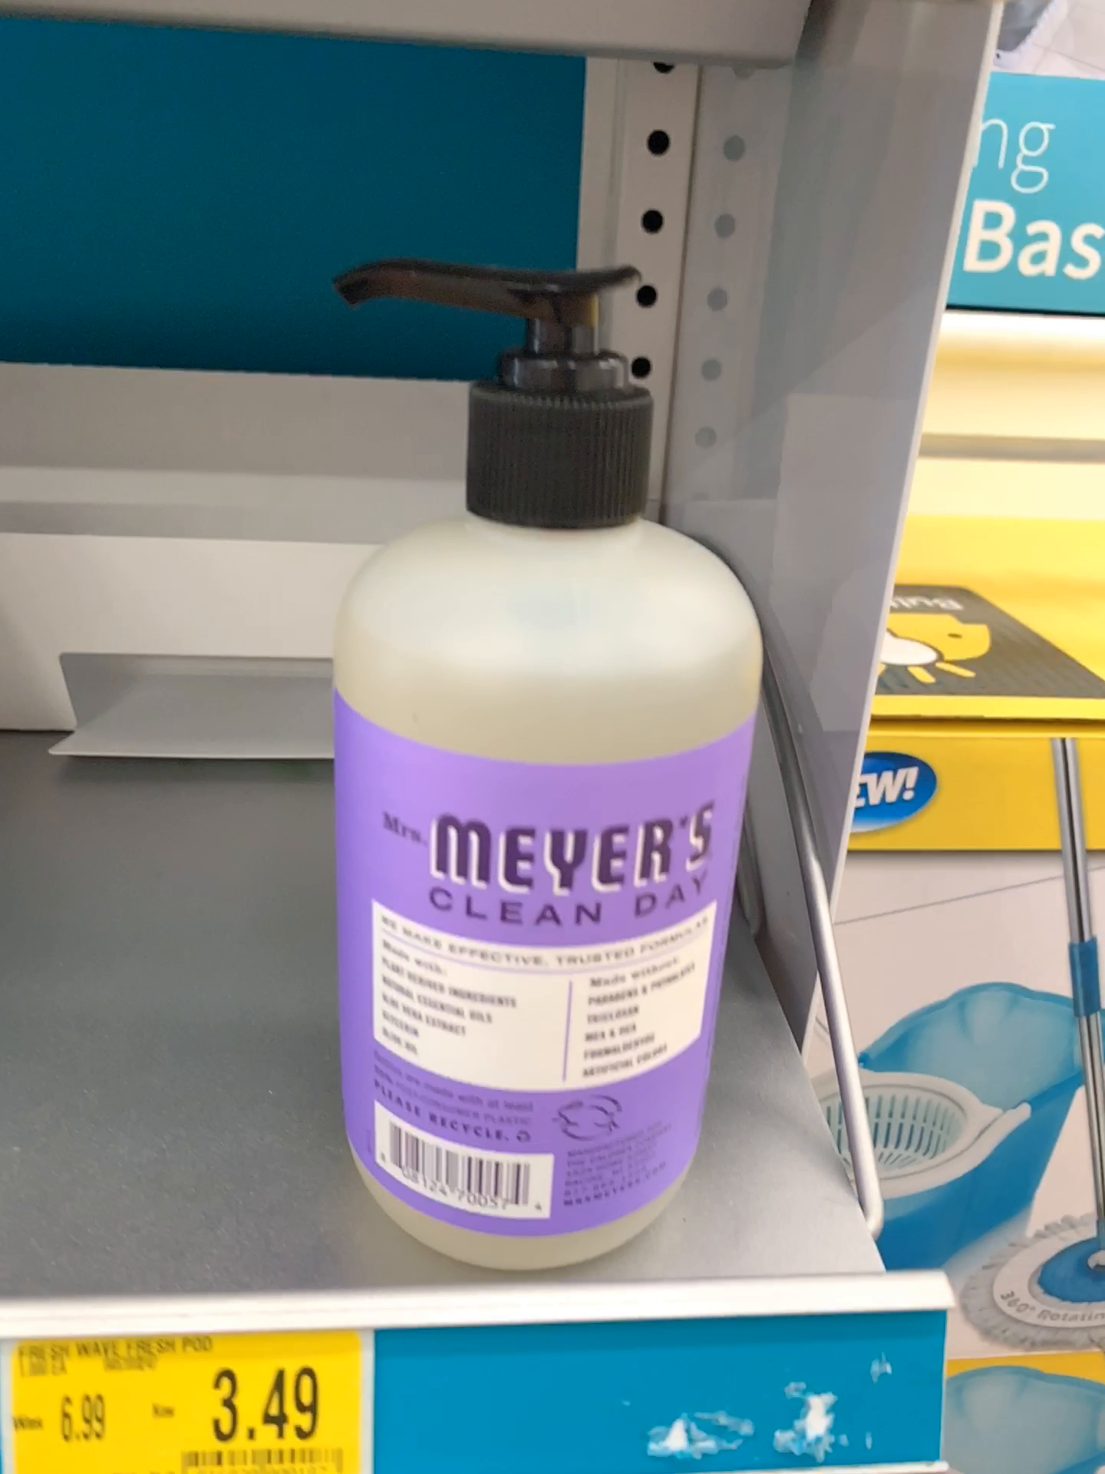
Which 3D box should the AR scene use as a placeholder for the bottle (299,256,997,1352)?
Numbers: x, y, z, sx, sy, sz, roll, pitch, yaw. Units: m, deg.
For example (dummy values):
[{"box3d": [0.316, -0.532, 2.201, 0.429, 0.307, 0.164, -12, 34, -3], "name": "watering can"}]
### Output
[{"box3d": [0.003, 0.009, 0.192, 0.080, 0.159, 0.070, -3, 24, -12], "name": "bottle"}]
